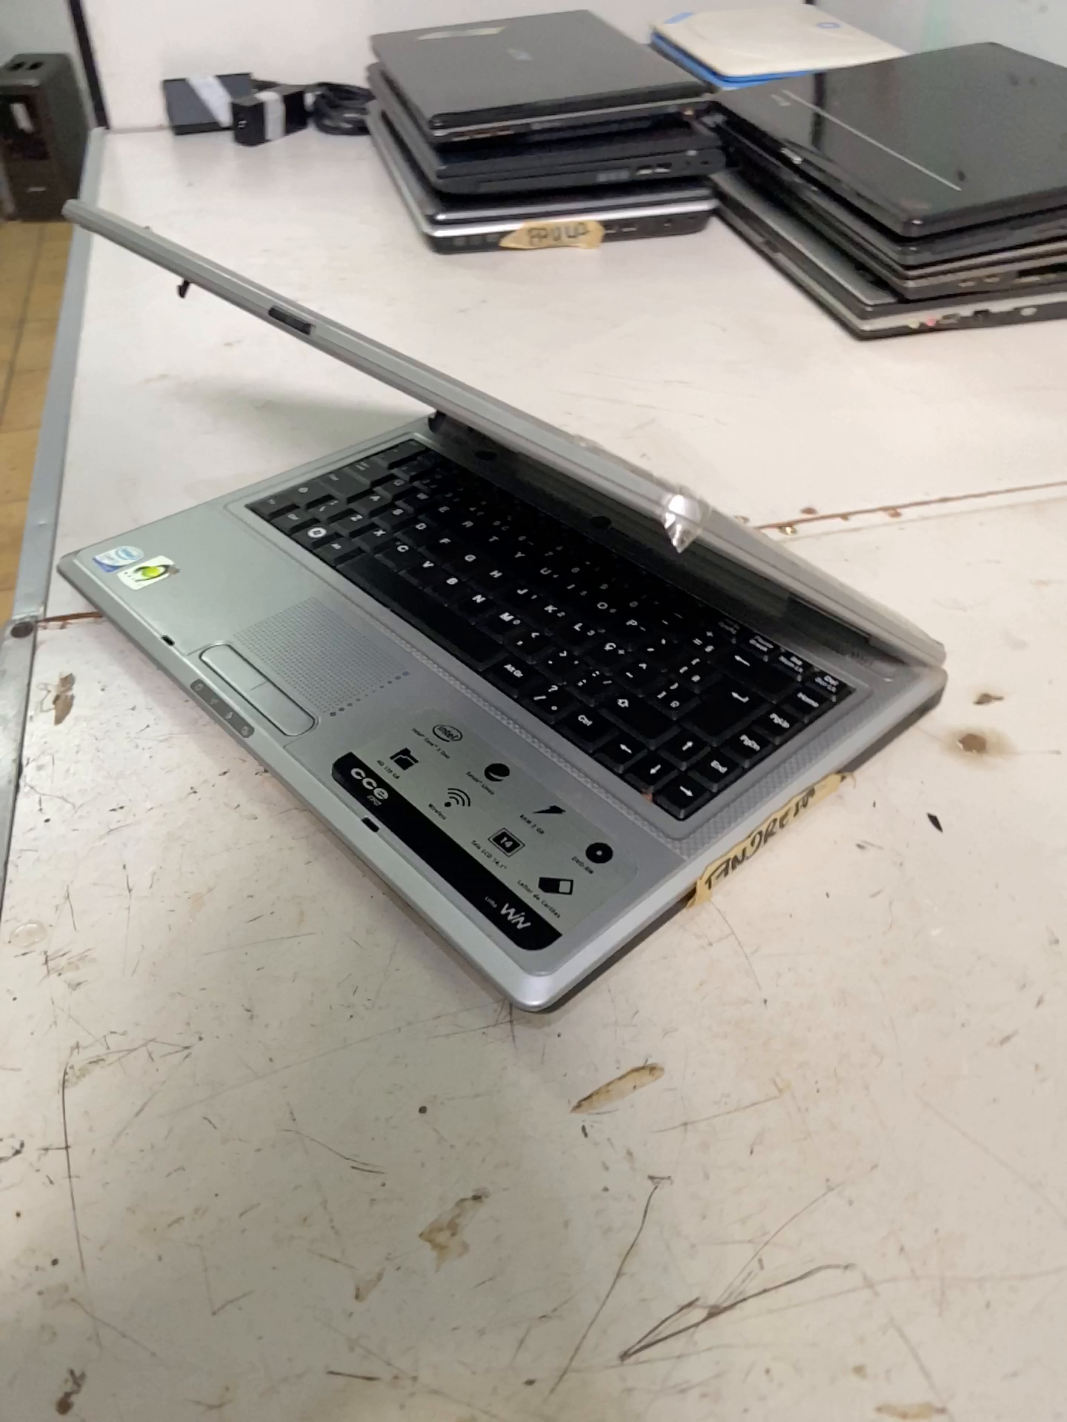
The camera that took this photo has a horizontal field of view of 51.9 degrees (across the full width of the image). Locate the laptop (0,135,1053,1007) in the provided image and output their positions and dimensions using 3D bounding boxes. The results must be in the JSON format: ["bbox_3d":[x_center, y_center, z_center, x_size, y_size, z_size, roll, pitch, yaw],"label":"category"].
[{"bbox_3d":[-0.027,-0.100,0.450,0.243,0.153,0.336,-31,49,-31],"label":"laptop"}]
